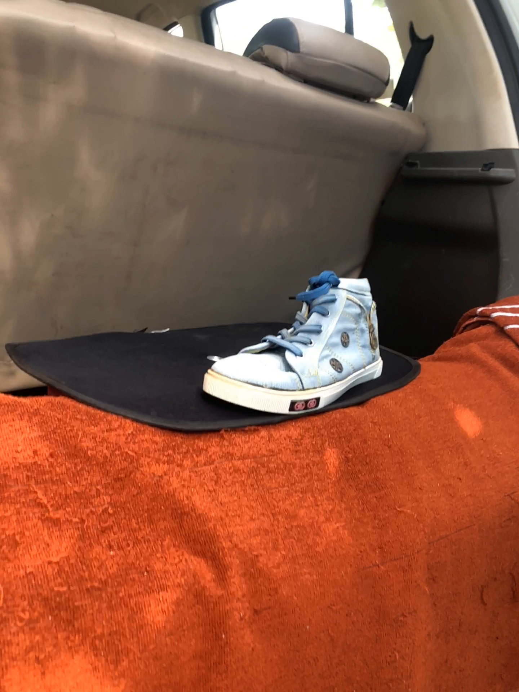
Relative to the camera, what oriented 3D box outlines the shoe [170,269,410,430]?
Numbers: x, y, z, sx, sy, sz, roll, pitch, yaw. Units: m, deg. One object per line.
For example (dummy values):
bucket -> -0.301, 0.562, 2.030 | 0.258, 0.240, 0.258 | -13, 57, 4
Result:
shoe -> 0.045, -0.014, 0.587 | 0.110, 0.110, 0.261 | 16, 16, 33
